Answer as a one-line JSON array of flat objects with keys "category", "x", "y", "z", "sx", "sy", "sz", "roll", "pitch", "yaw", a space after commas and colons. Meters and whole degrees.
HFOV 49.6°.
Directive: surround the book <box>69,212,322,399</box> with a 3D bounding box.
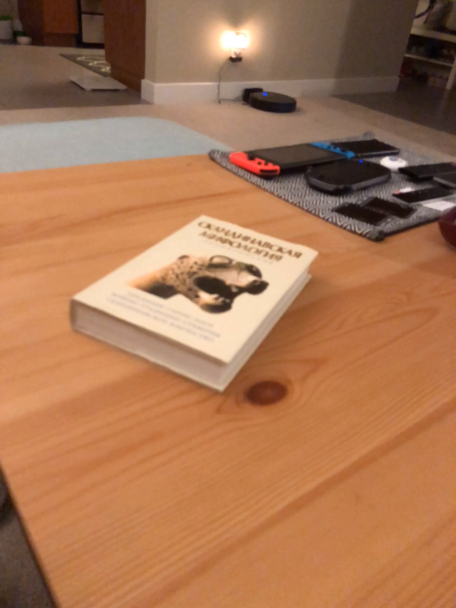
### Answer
[{"category": "book", "x": -0.018, "y": -0.016, "z": 0.467, "sx": 0.146, "sy": 0.037, "sz": 0.211, "roll": 20, "pitch": 36, "yaw": 20}]
